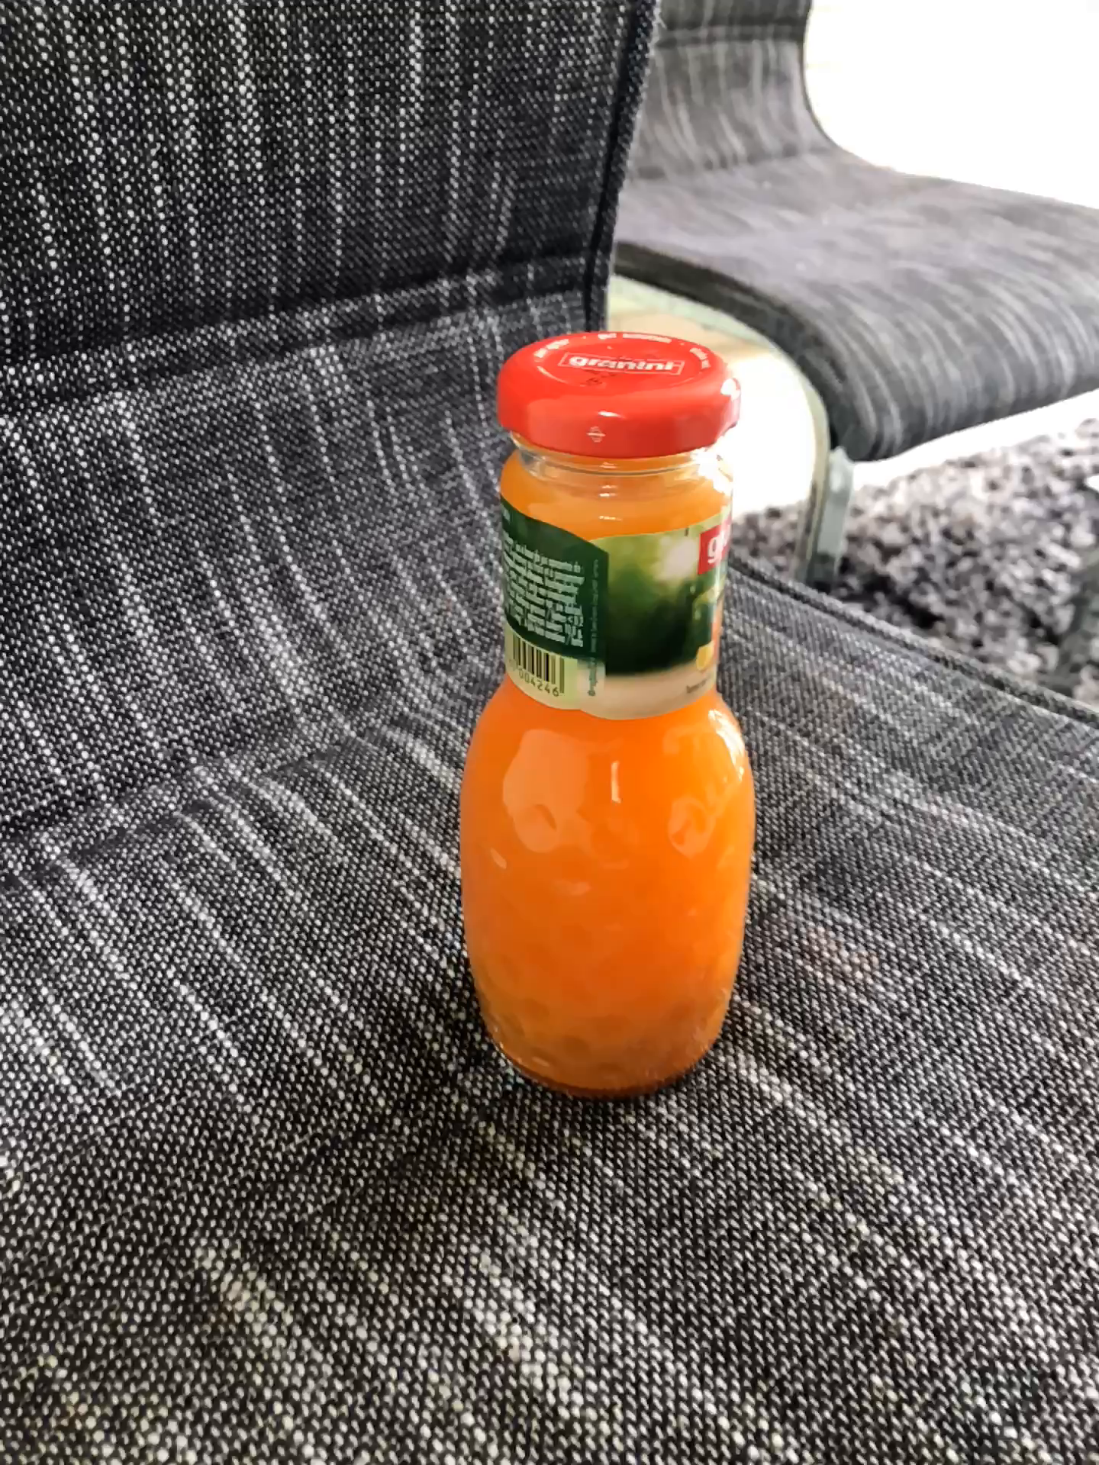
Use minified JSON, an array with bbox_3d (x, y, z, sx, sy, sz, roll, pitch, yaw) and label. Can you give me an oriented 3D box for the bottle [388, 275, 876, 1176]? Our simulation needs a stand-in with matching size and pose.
[{"bbox_3d":[0.013,0.001,0.234,0.060,0.149,0.070,14,35,14],"label":"bottle"}]
